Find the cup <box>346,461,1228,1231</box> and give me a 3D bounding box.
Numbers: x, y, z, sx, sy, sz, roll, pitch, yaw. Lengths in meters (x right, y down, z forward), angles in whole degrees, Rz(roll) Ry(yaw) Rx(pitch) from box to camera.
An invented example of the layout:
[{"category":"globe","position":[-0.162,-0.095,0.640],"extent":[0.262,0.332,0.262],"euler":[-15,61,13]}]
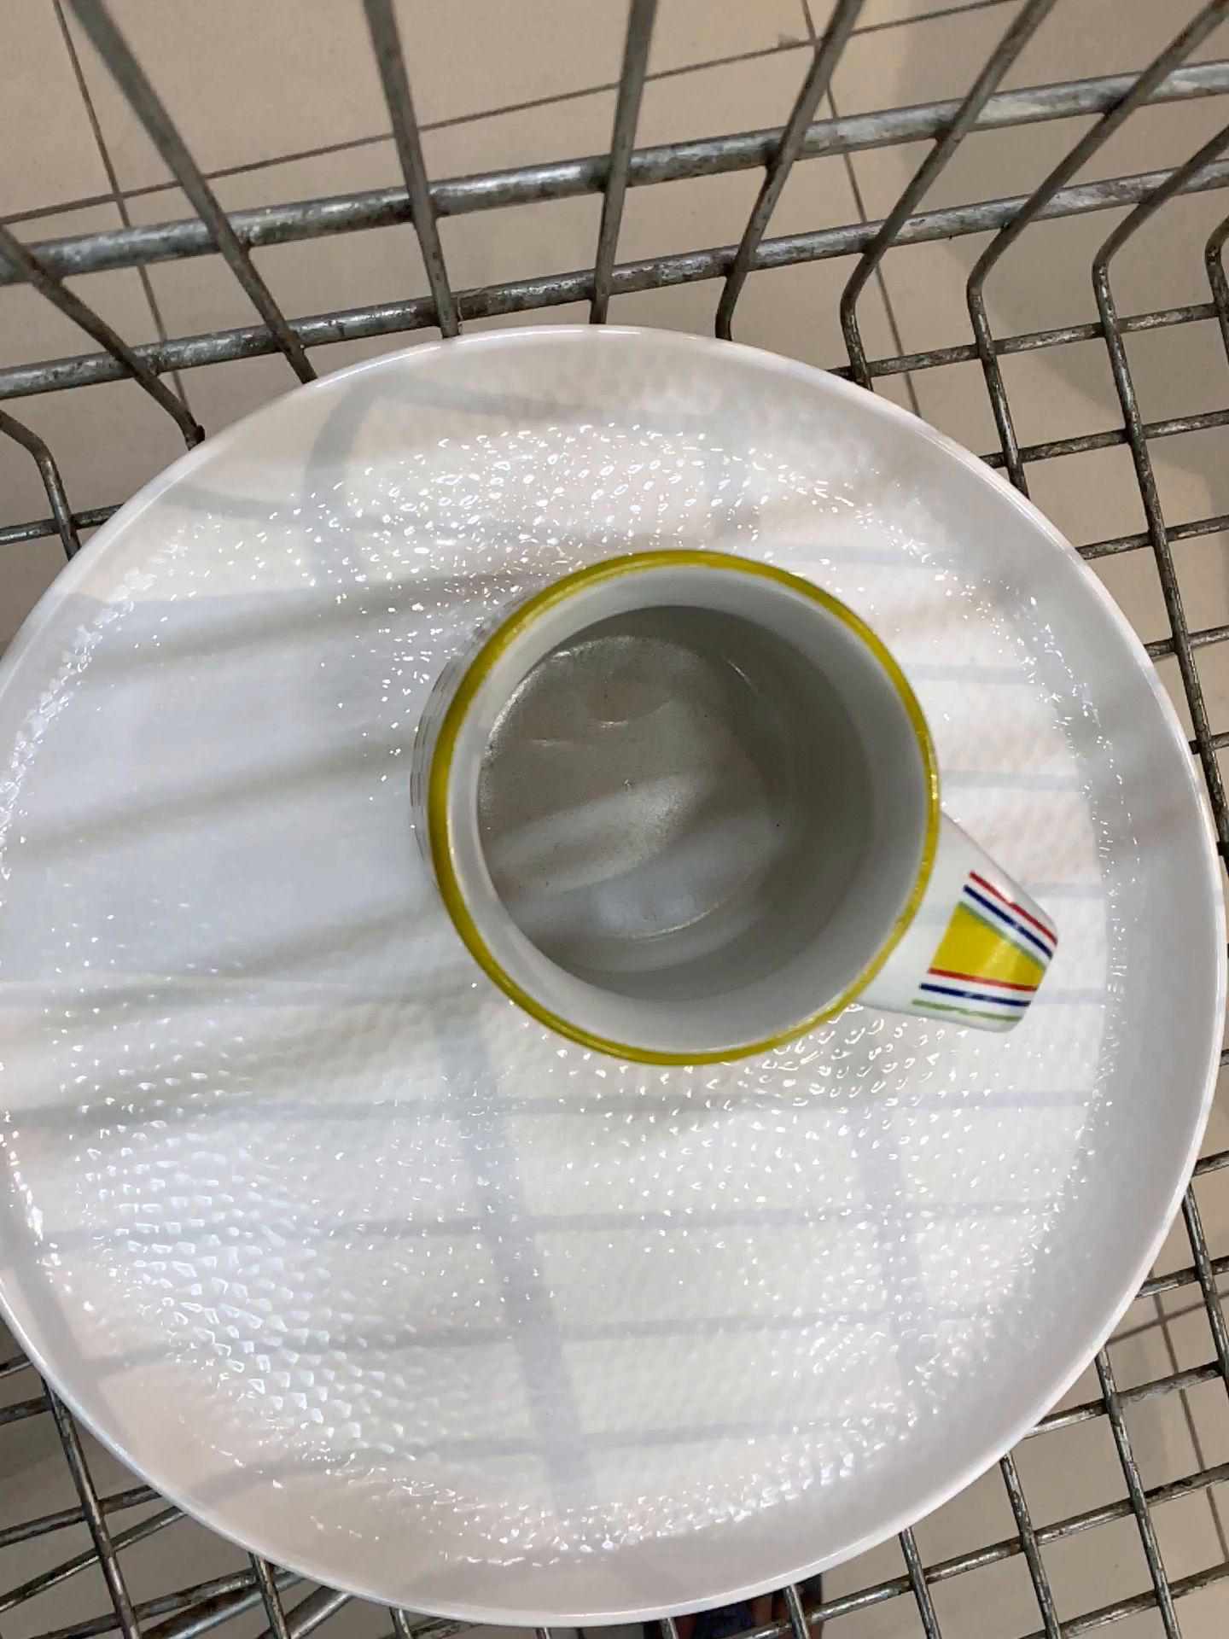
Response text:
[{"category":"cup","position":[0.025,0.005,0.203],"extent":[0.120,0.100,0.080],"euler":[7,91,-9]}]
